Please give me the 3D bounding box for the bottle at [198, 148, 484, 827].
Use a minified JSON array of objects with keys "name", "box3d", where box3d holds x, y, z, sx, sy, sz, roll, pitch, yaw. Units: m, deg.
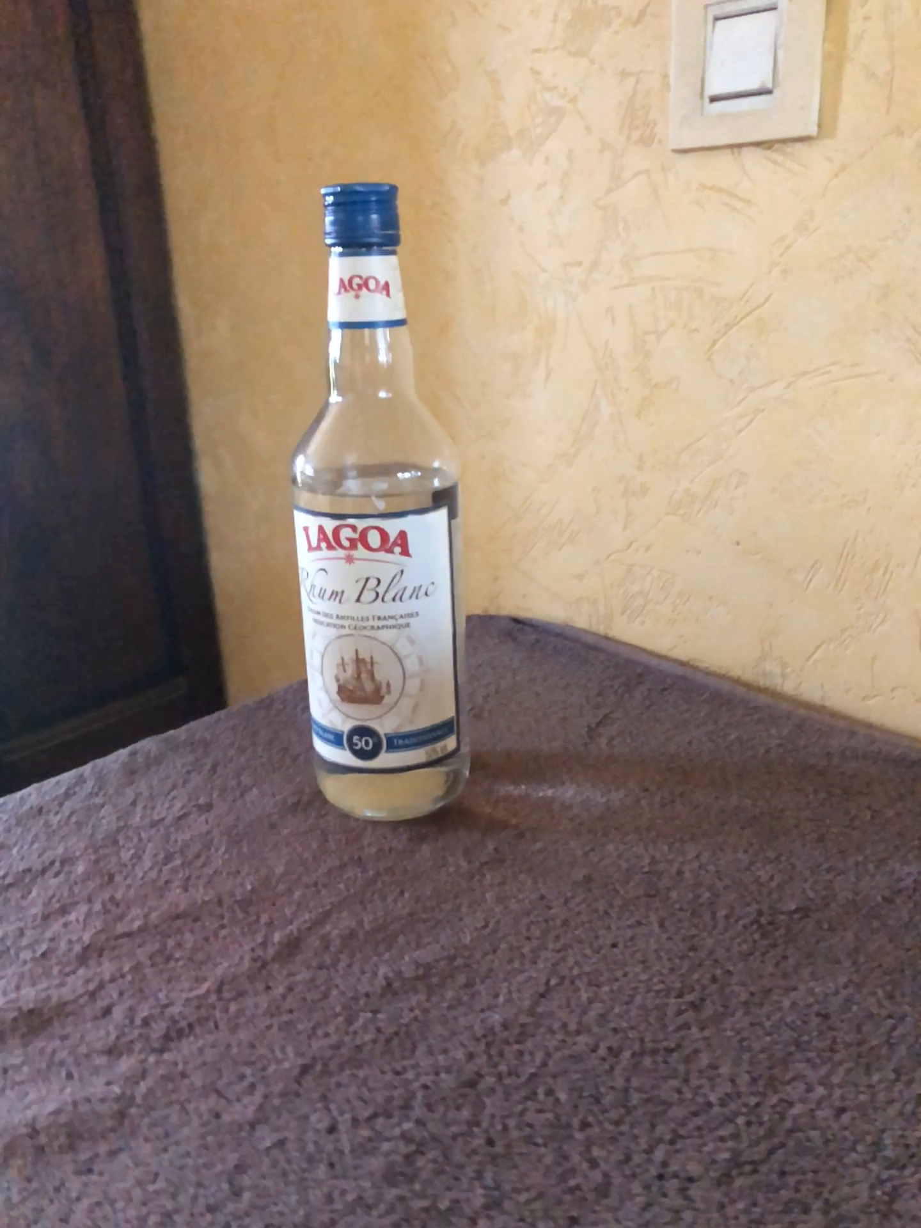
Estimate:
[{"name":"bottle","box3d":[-0.042,-0.050,0.442,0.080,0.269,0.080,-2,19,1]}]
